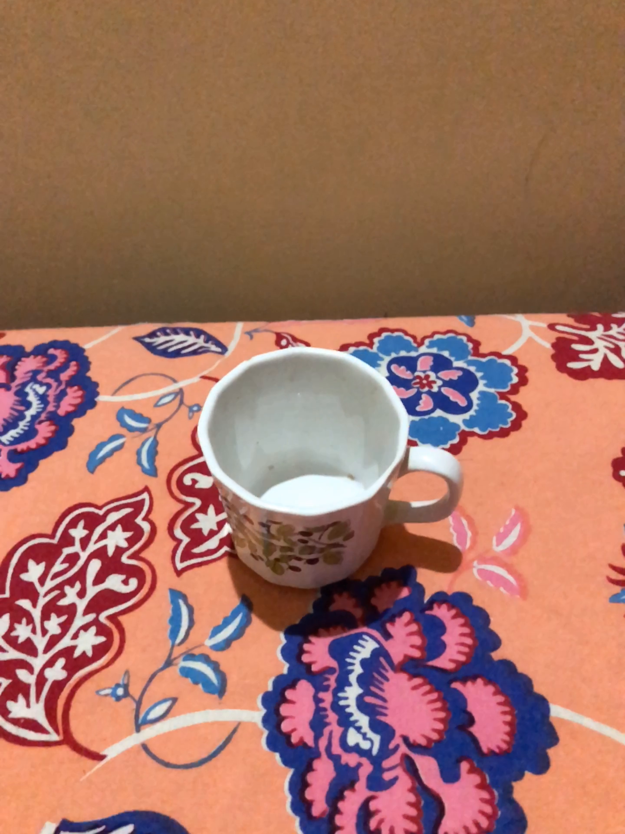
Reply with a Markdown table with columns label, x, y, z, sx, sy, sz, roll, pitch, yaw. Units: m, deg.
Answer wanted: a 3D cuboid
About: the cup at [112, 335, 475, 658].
| label | x | y | z | sx | sy | sz | roll | pitch | yaw |
| --- | --- | --- | --- | --- | --- | --- | --- | --- | --- |
| cup | -0.001 | 0.025 | 0.223 | 0.090 | 0.070 | 0.060 | 9 | 52 | 12 |
